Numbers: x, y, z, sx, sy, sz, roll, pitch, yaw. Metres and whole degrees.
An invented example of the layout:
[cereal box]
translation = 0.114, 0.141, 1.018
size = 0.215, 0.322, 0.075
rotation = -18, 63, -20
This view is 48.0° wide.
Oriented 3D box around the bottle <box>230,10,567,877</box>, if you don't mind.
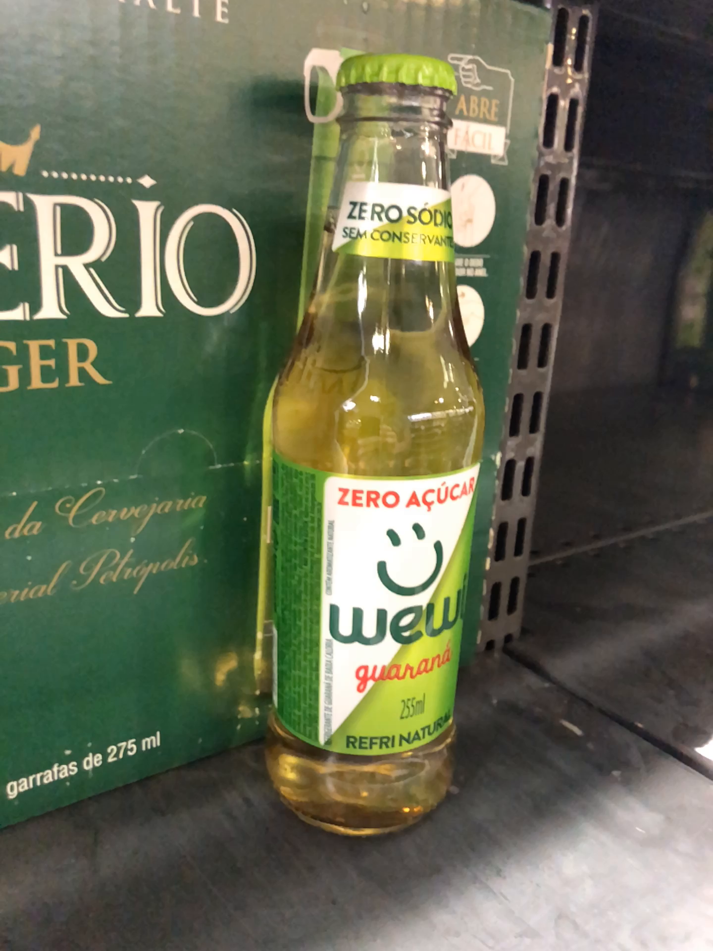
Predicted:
[bottle]
translation = 0.003, -0.001, 0.211
size = 0.060, 0.199, 0.050
rotation = -4, 18, -22
